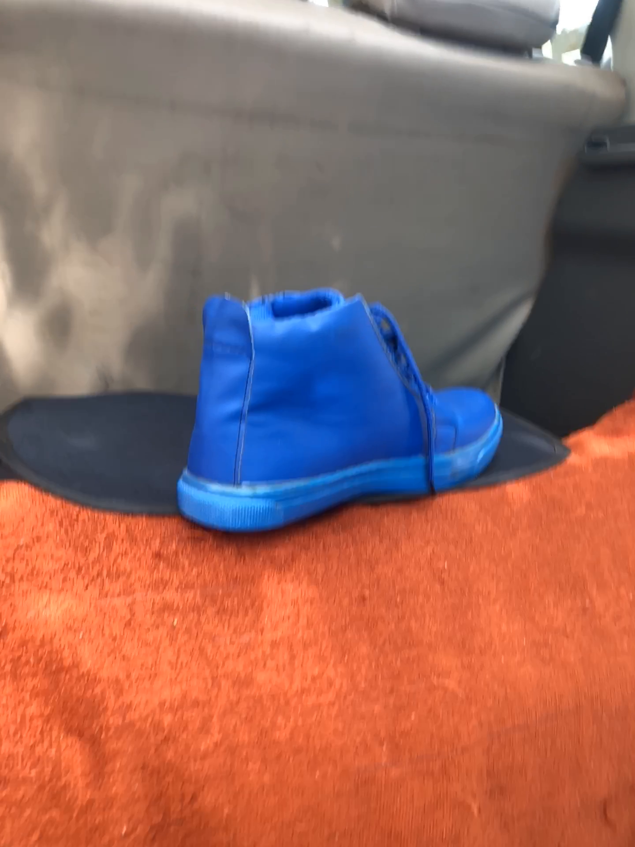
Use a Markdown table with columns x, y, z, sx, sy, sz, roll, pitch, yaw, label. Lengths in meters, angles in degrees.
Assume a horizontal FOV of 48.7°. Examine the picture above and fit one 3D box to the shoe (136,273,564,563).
| x | y | z | sx | sy | sz | roll | pitch | yaw | label |
| --- | --- | --- | --- | --- | --- | --- | --- | --- | --- |
| 0.034 | -0.025 | 0.481 | 0.291 | 0.139 | 0.100 | -10 | 22 | -39 | shoe |
